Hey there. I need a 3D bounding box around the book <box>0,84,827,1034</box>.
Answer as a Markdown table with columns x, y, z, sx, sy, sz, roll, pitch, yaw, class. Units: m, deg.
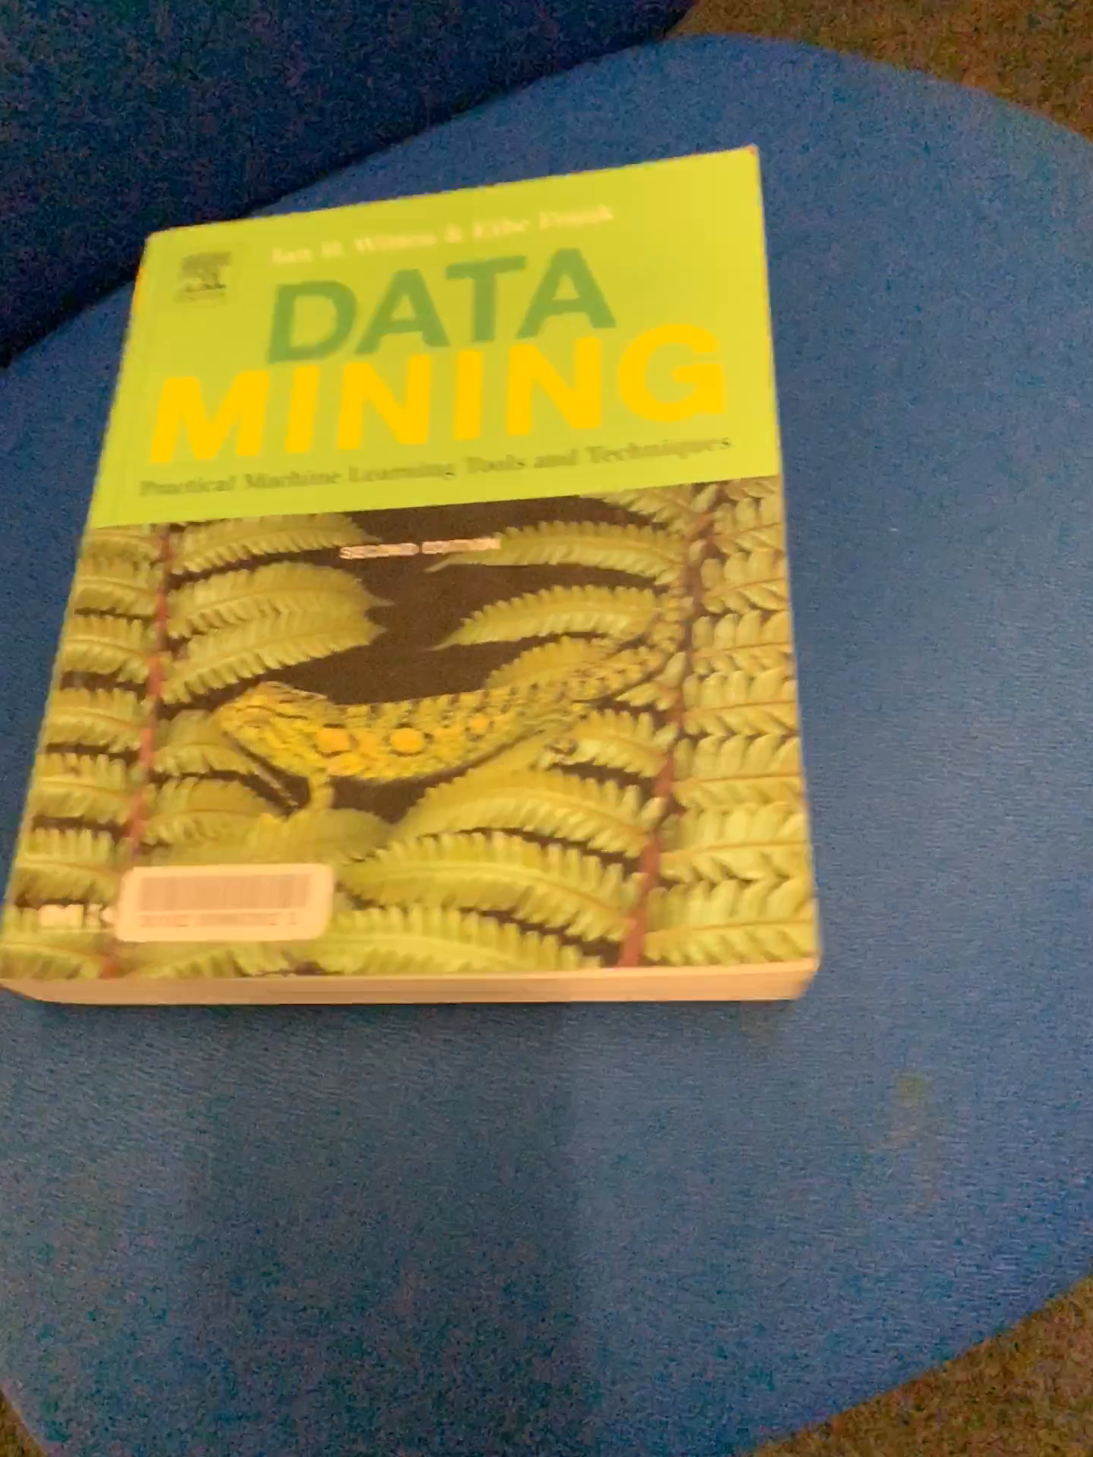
| x | y | z | sx | sy | sz | roll | pitch | yaw | class |
| --- | --- | --- | --- | --- | --- | --- | --- | --- | --- |
| -0.050 | -0.047 | 0.302 | 0.220 | 0.050 | 0.241 | -4 | 68 | 10 | book |
